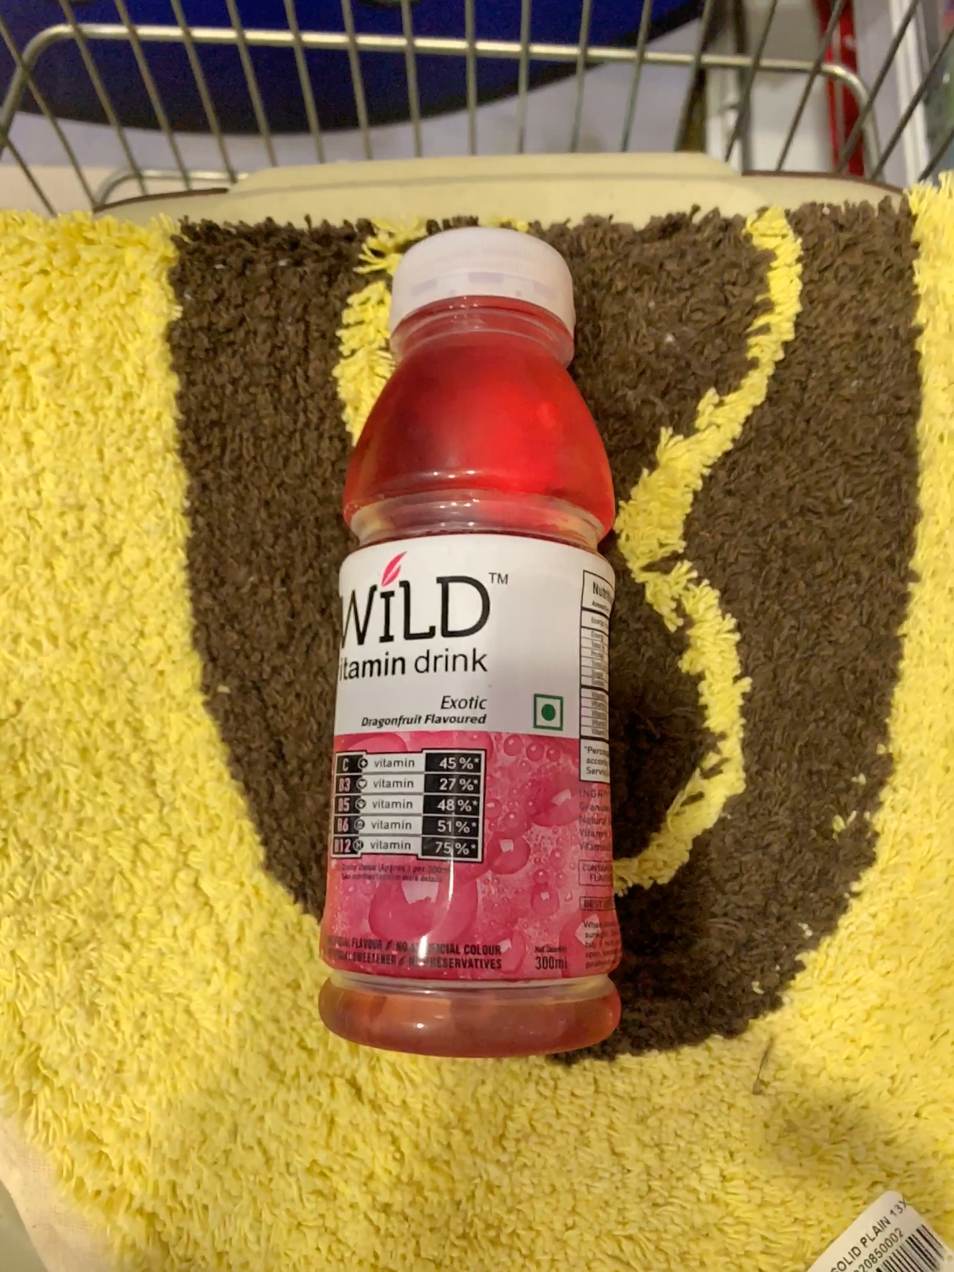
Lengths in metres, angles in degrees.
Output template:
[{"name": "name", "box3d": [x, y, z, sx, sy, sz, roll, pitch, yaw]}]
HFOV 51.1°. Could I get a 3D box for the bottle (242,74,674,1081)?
[{"name": "bottle", "box3d": [0.001, -0.012, 0.195, 0.060, 0.050, 0.170, -5, 75, 24]}]
